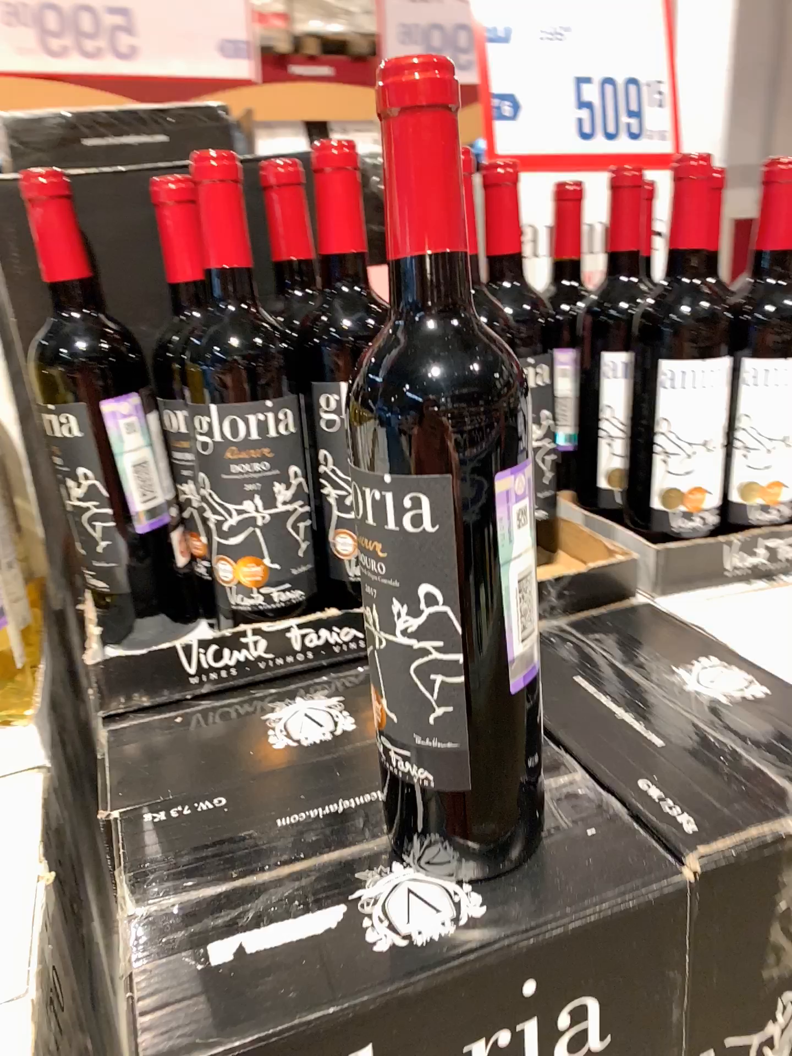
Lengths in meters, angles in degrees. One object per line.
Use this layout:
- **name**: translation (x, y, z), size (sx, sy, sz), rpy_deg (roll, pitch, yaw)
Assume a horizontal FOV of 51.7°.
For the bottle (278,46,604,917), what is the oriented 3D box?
- **bottle**: translation (0.021, -0.010, 0.345), size (0.080, 0.319, 0.090), rpy_deg (-14, 22, -29)
